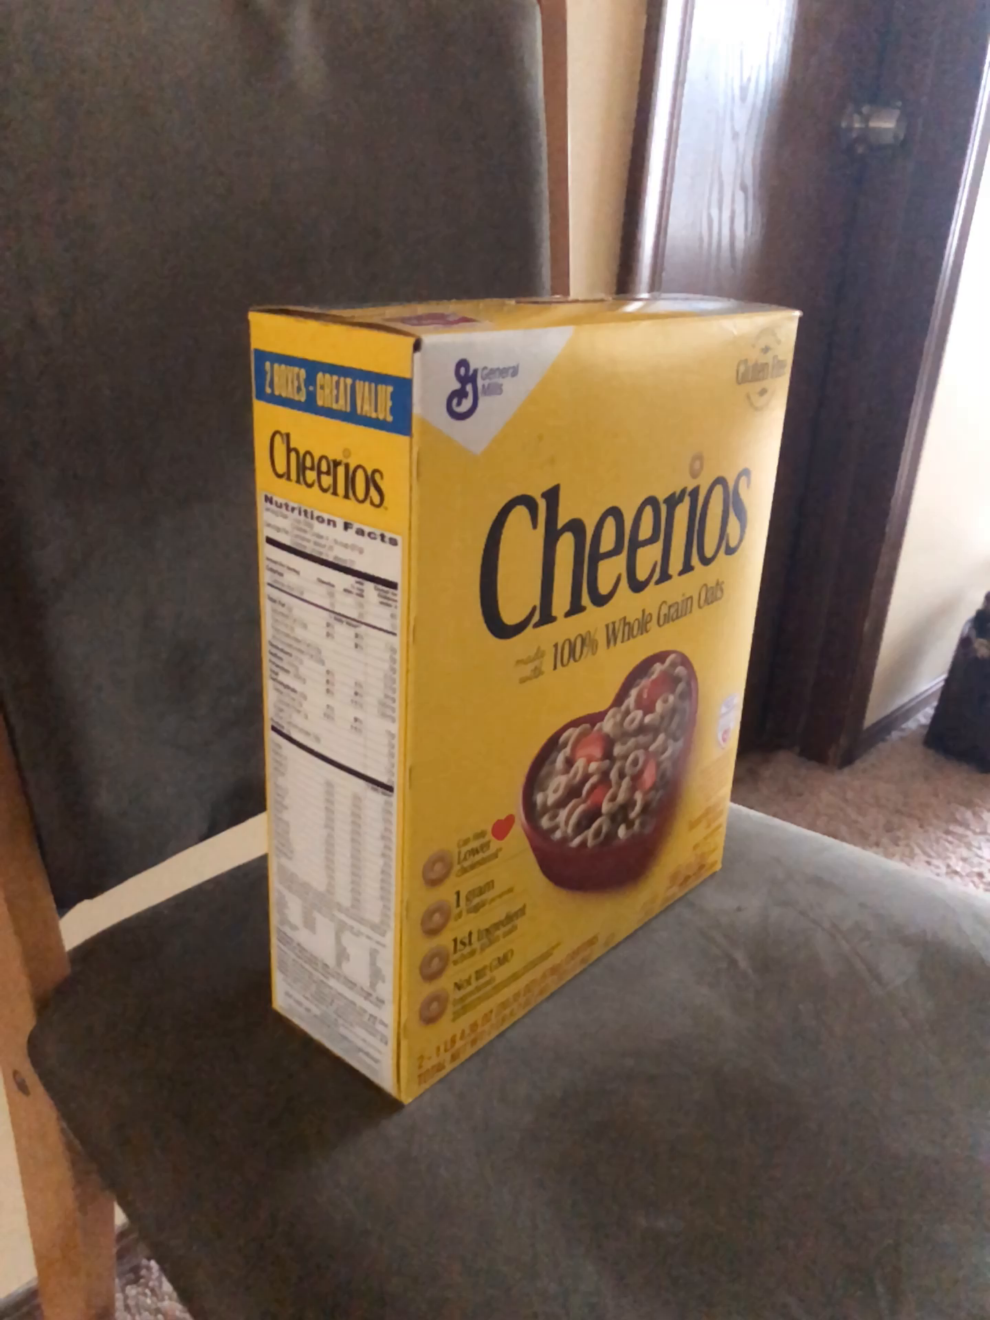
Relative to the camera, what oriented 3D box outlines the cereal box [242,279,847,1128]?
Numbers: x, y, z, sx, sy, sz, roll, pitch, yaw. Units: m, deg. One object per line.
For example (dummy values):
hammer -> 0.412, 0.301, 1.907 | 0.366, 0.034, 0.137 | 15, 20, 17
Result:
cereal box -> 0.028, -0.004, 0.482 | 0.090, 0.299, 0.260 | 22, 29, 37
